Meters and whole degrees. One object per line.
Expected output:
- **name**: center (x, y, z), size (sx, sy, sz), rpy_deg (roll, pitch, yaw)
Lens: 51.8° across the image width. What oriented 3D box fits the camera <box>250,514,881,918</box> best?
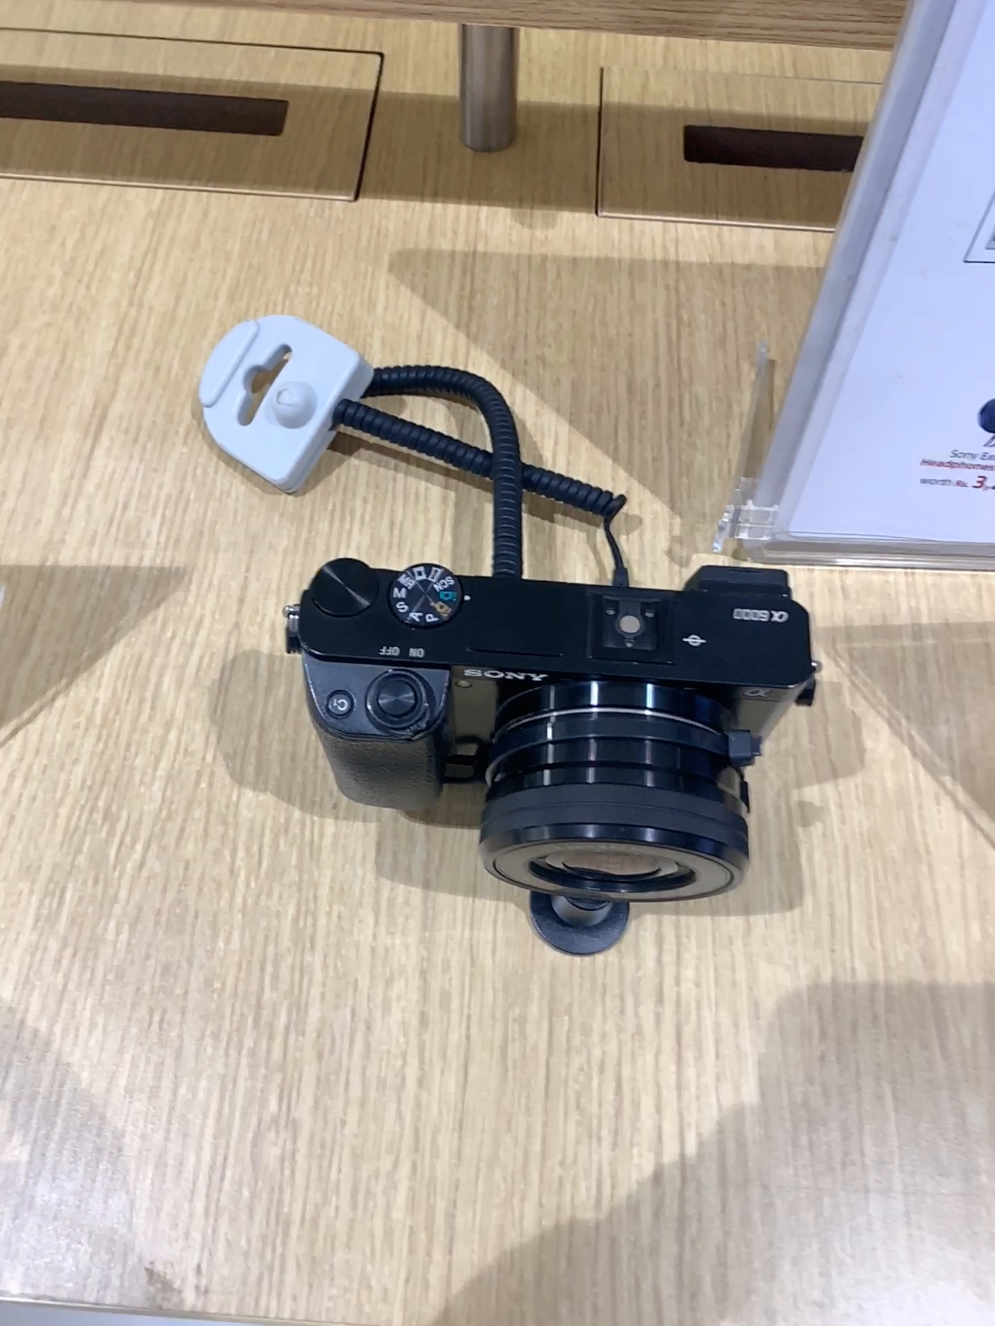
- **camera**: center (0.015, 0.019, 0.267), size (0.130, 0.090, 0.070), rpy_deg (2, 64, 0)
